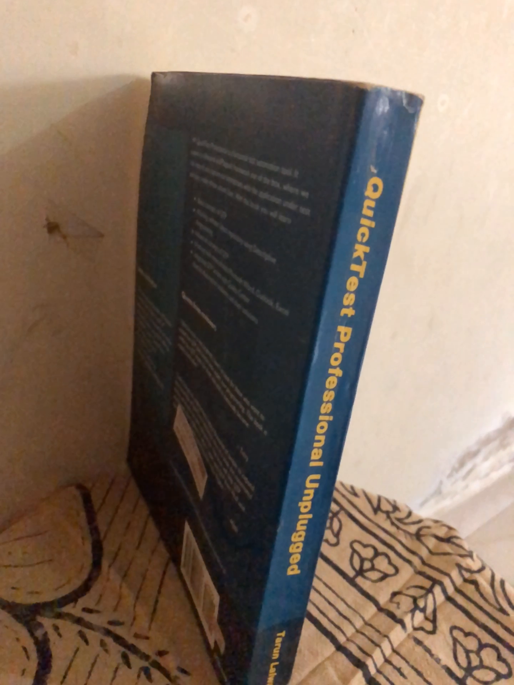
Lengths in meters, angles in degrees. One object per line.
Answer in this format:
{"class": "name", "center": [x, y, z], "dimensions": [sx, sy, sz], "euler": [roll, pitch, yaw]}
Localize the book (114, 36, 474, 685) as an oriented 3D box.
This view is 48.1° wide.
{"class": "book", "center": [-0.019, 0.009, 0.289], "dimensions": [0.050, 0.269, 0.210], "euler": [-5, 23, -27]}
